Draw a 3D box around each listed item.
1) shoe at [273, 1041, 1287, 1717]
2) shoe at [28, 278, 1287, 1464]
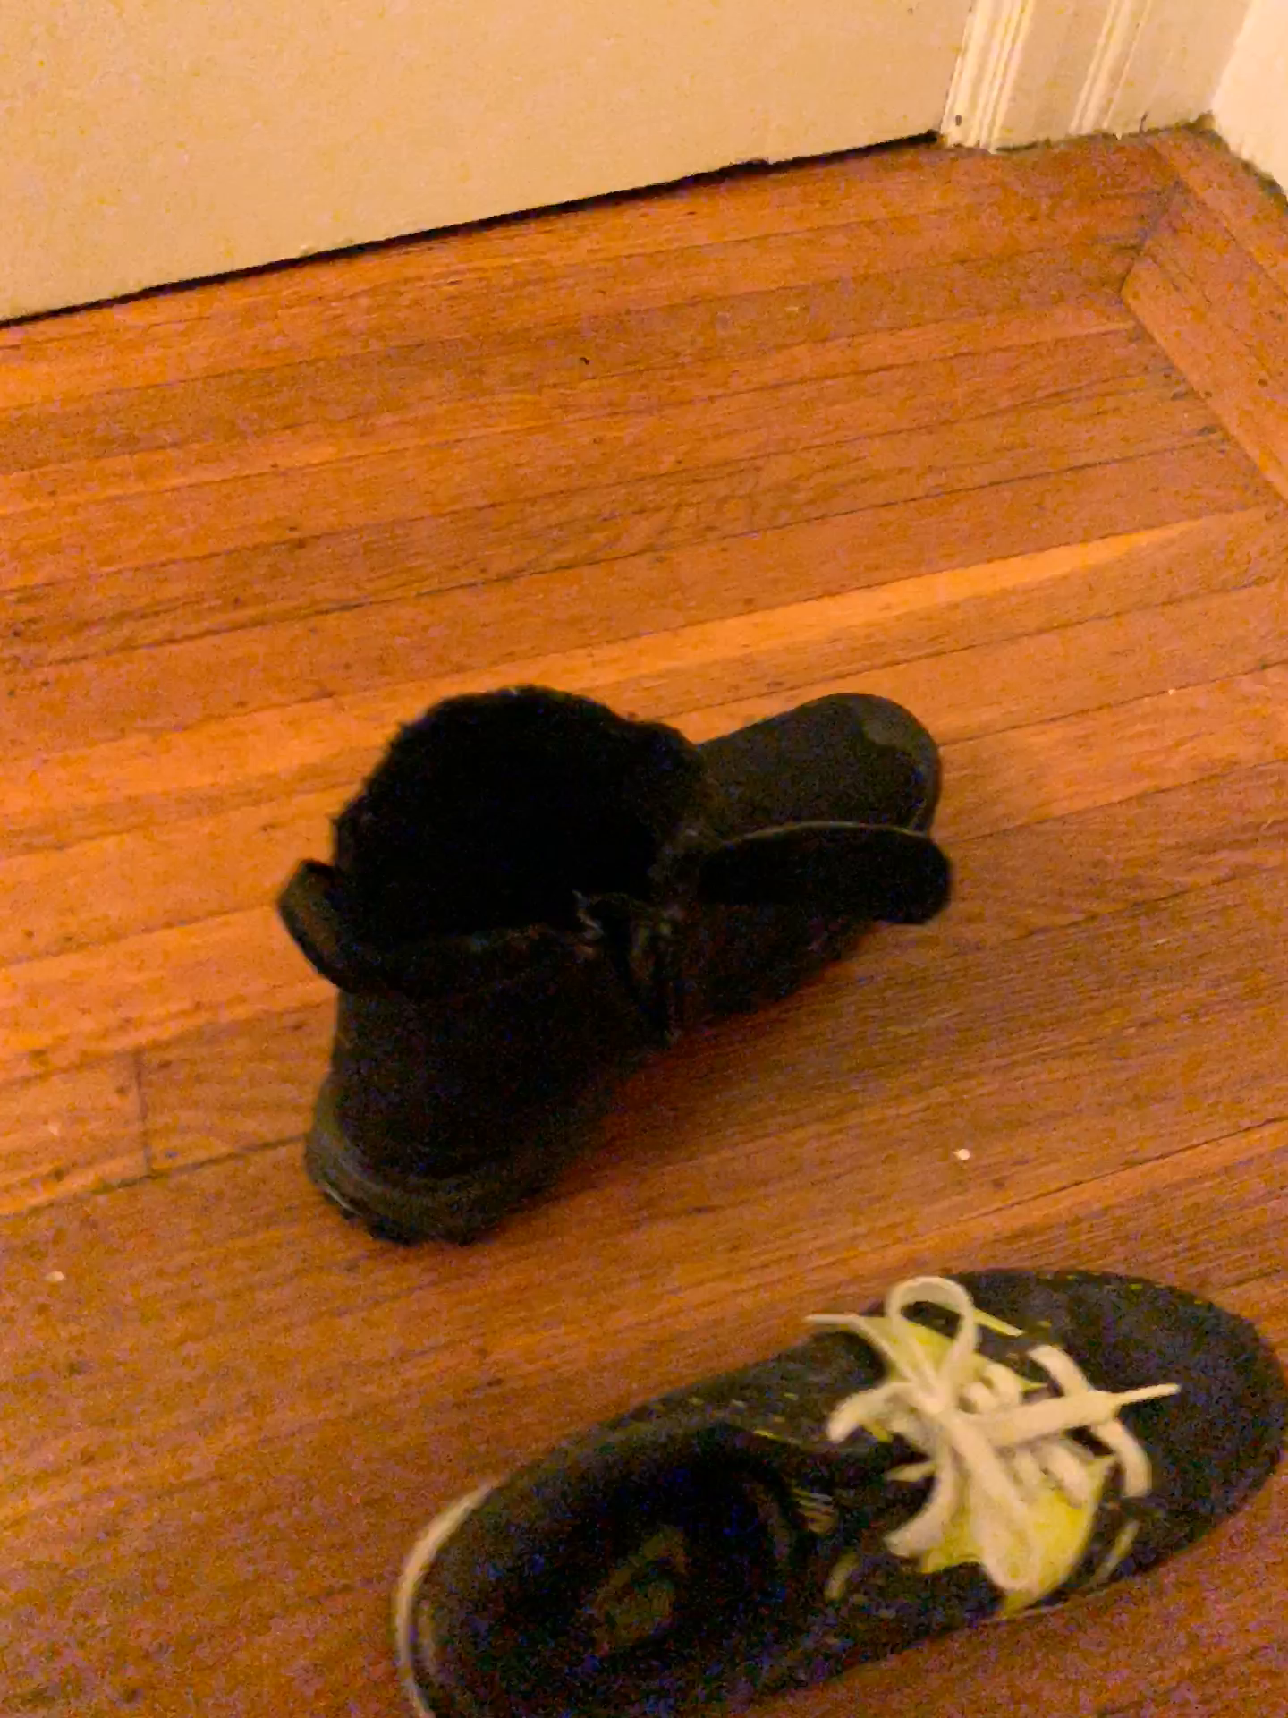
[{"bbox_3d":[0.065,0.170,0.365,0.290,0.100,0.120,-18,61,-13],"label":"shoe"},{"bbox_3d":[0.017,0.010,0.445,0.310,0.239,0.160,-37,67,-22],"label":"shoe"}]
